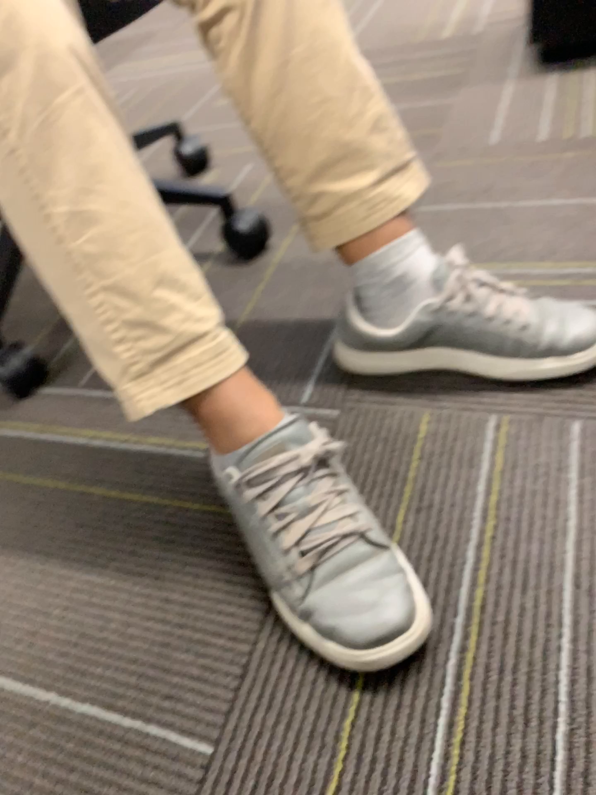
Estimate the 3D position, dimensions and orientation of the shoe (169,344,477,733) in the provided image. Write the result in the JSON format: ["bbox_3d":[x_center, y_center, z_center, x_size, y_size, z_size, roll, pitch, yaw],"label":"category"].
[{"bbox_3d":[0.011,0.099,0.524,0.120,0.139,0.272,-28,43,-11],"label":"shoe"}]

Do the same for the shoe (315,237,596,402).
[{"bbox_3d":[0.178,-0.083,0.666,0.281,0.109,0.120,2,46,22],"label":"shoe"}]
